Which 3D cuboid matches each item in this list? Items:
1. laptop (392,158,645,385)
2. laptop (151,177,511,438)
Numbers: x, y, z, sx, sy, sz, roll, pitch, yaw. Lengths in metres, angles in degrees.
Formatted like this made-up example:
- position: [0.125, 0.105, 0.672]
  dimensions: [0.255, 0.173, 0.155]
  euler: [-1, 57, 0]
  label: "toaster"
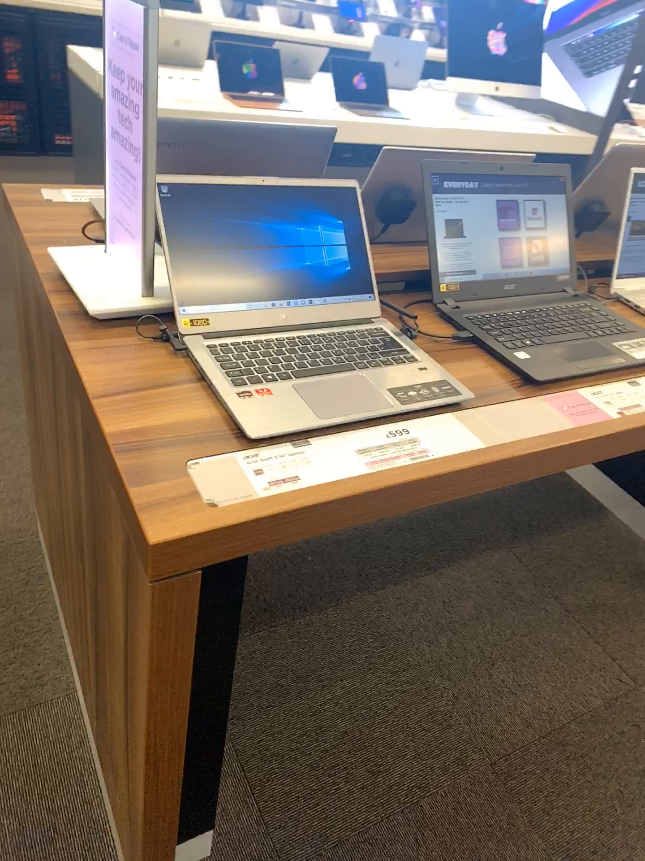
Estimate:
- position: [0.384, -0.273, 1.065]
  dimensions: [0.372, 0.191, 0.358]
  euler: [-12, 42, -32]
  label: "laptop"
- position: [-0.013, -0.184, 0.844]
  dimensions: [0.308, 0.153, 0.361]
  euler: [-10, 41, -29]
  label: "laptop"
